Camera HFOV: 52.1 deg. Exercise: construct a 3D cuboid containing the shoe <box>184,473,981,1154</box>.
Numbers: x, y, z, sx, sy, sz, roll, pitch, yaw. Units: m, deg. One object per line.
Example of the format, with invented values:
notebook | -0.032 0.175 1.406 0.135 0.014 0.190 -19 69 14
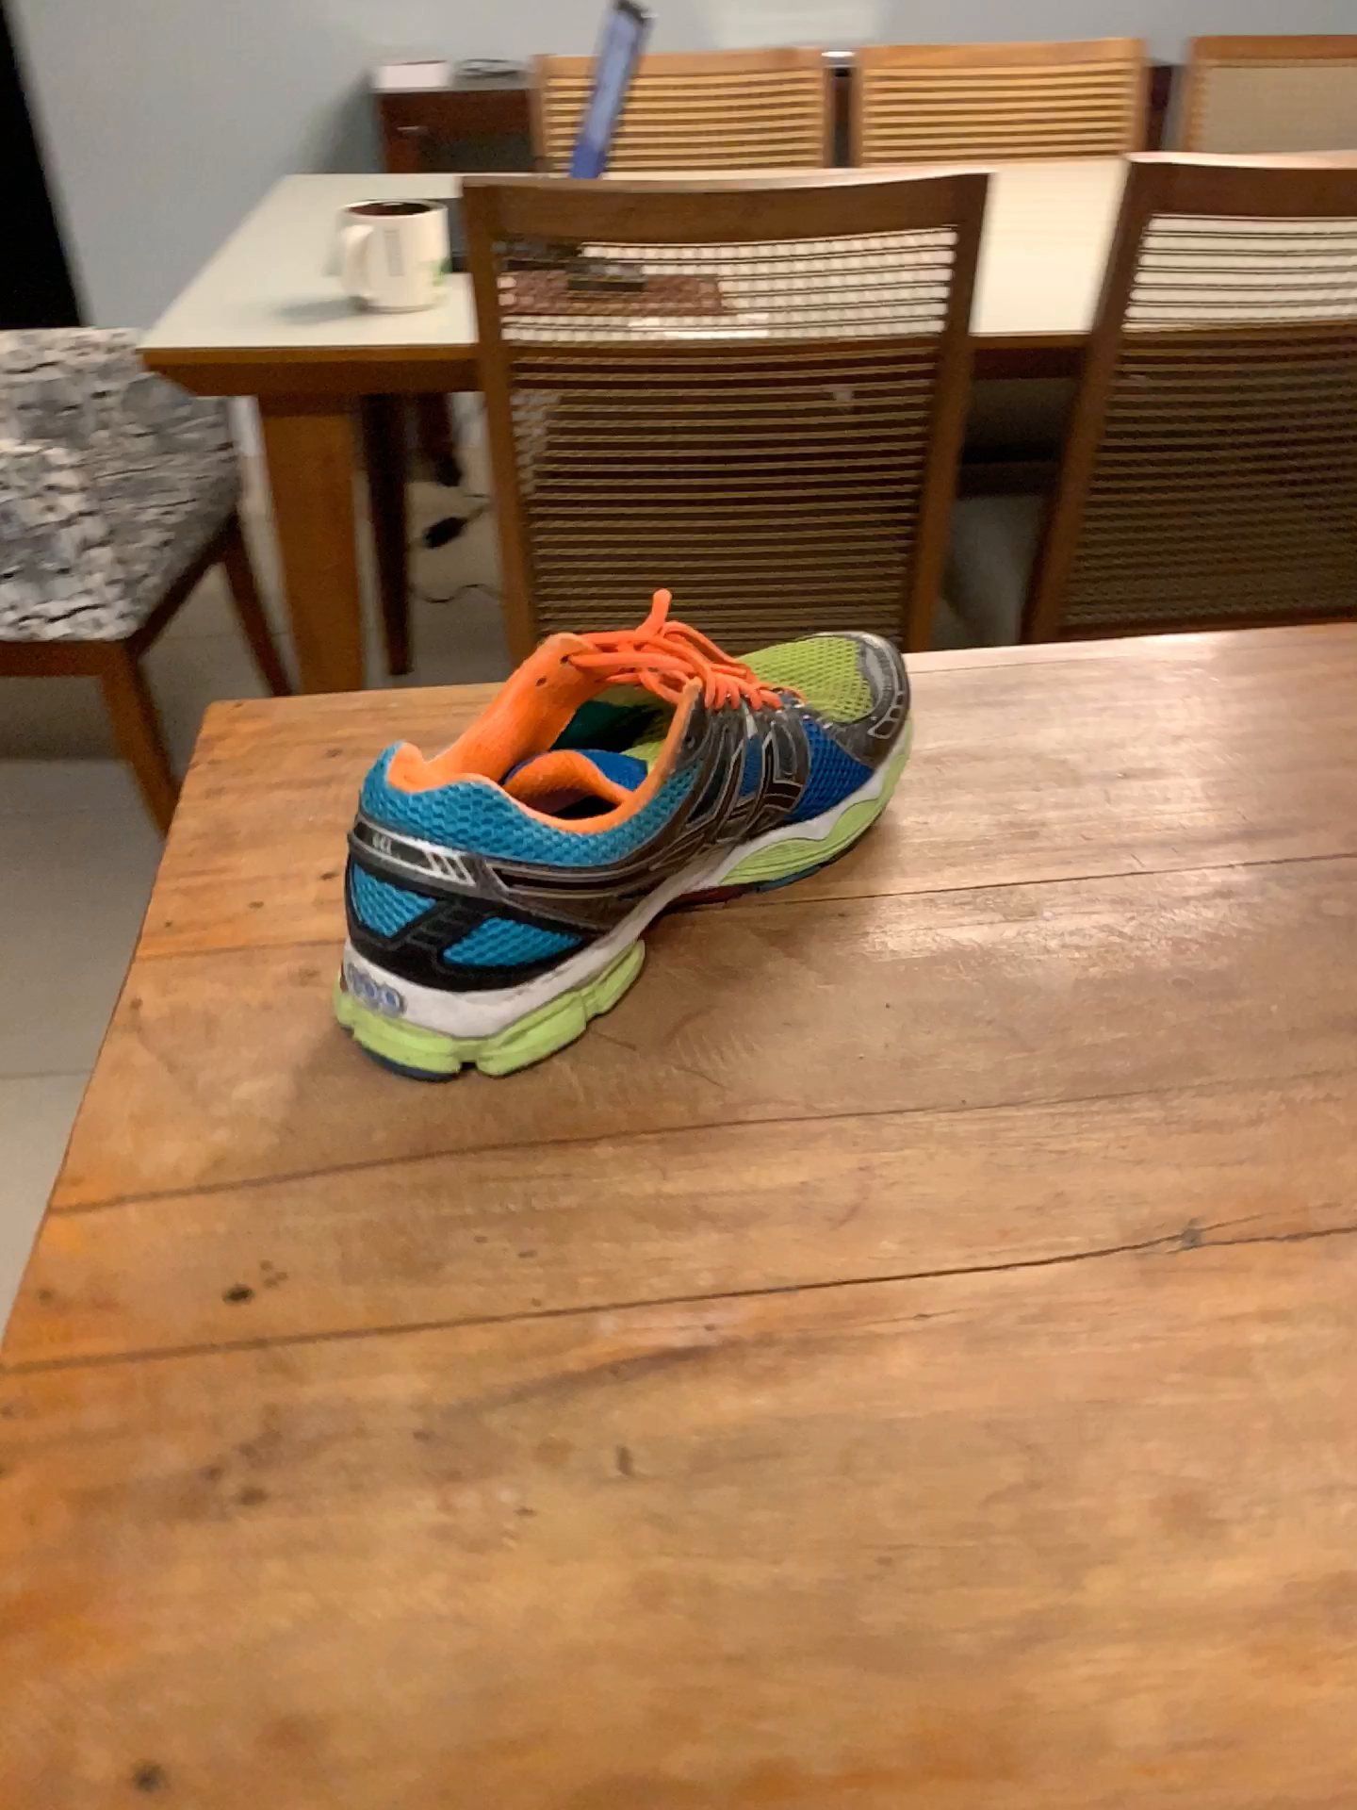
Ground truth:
shoe | -0.015 -0.059 0.536 0.125 0.109 0.302 23 42 30
